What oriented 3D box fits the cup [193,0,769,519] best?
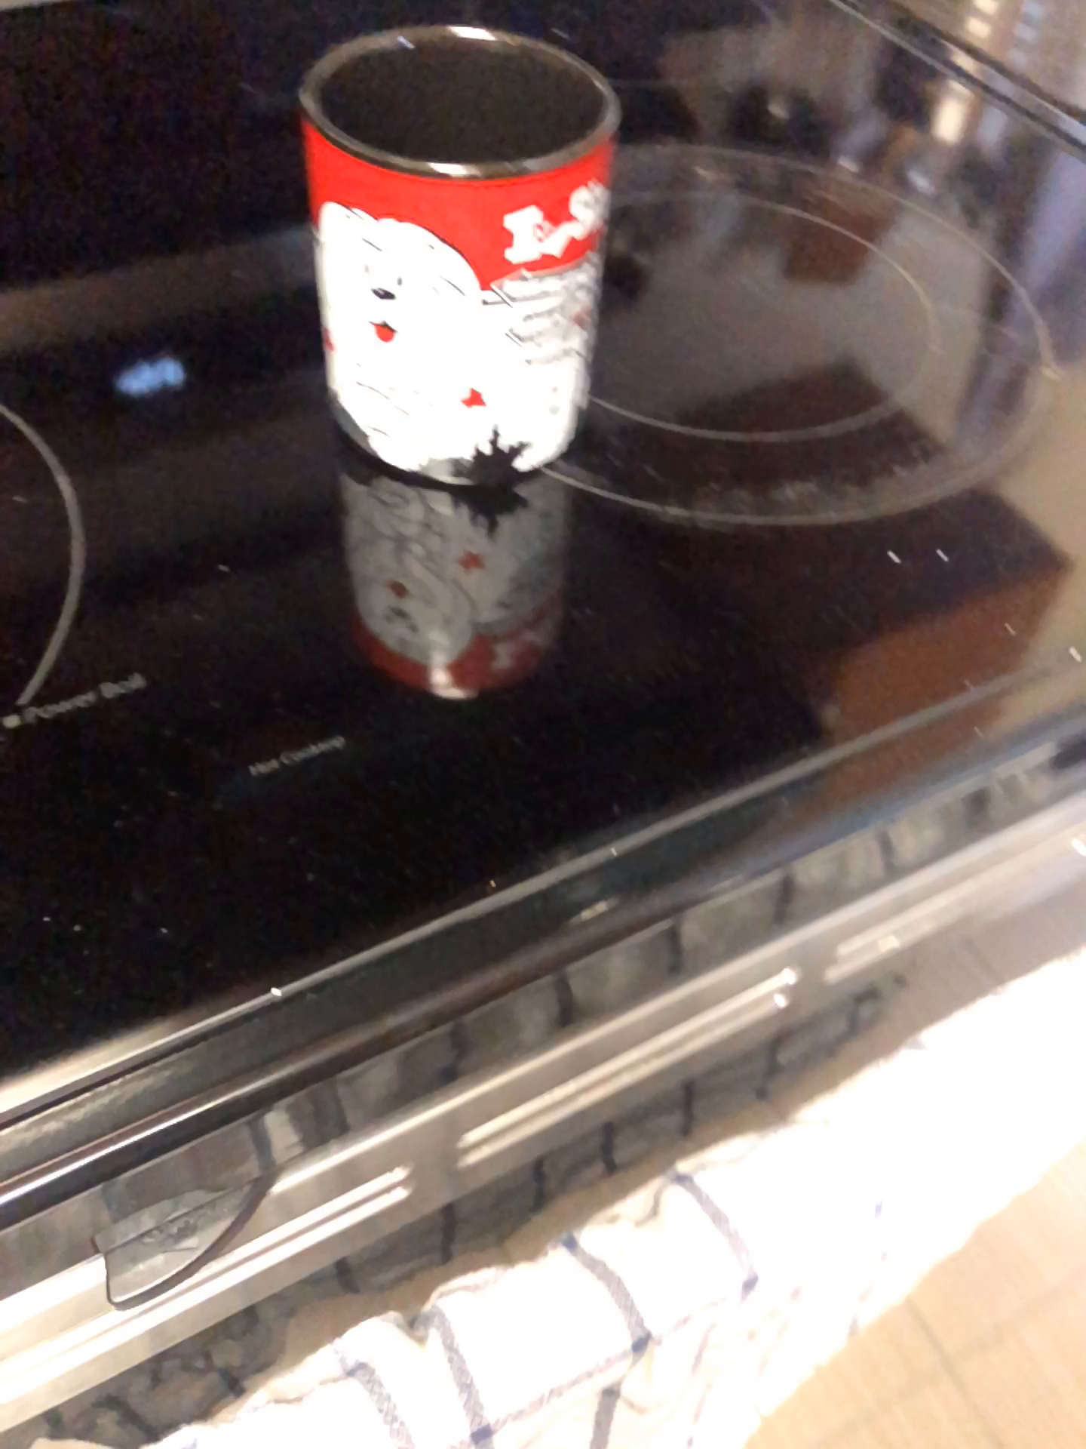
[{"bbox_3d":[-0.014,-0.146,0.351,0.090,0.090,0.130,30,54,19],"label":"cup"}]
